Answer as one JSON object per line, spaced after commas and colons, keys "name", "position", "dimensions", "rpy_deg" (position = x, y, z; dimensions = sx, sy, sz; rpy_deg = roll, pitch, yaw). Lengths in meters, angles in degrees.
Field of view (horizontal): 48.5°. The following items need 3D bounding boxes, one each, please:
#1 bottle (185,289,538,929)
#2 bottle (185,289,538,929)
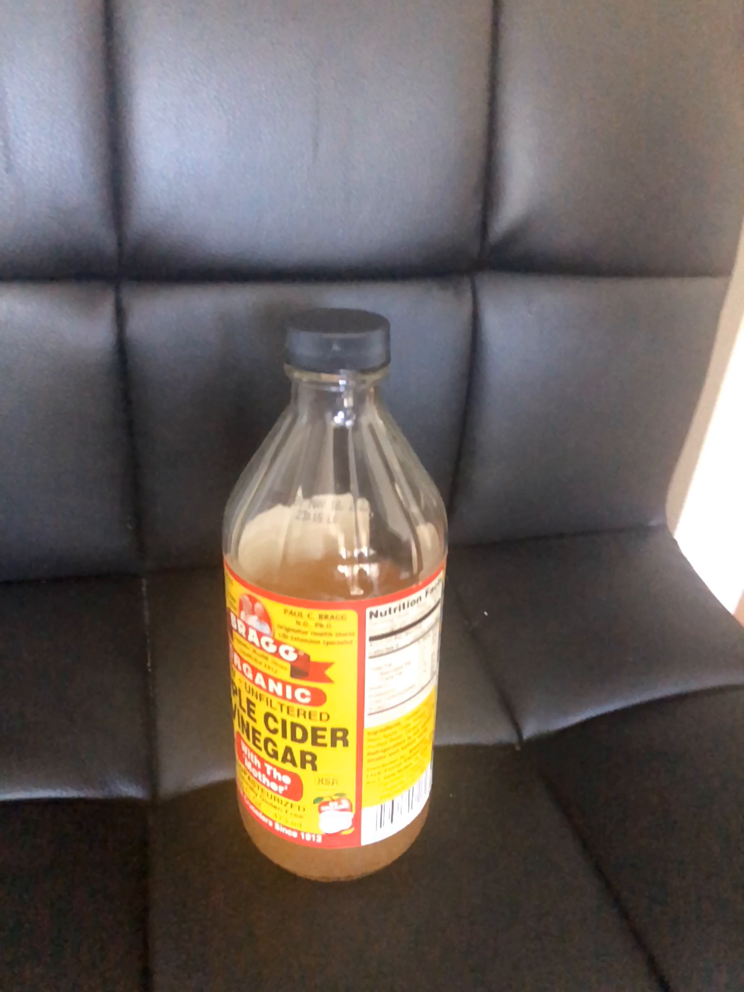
{"name": "bottle", "position": [-0.008, 0.033, 0.267], "dimensions": [0.070, 0.179, 0.070], "rpy_deg": [3, 23, -1]}
{"name": "bottle", "position": [-0.008, 0.033, 0.267], "dimensions": [0.070, 0.179, 0.070], "rpy_deg": [3, 23, -1]}
